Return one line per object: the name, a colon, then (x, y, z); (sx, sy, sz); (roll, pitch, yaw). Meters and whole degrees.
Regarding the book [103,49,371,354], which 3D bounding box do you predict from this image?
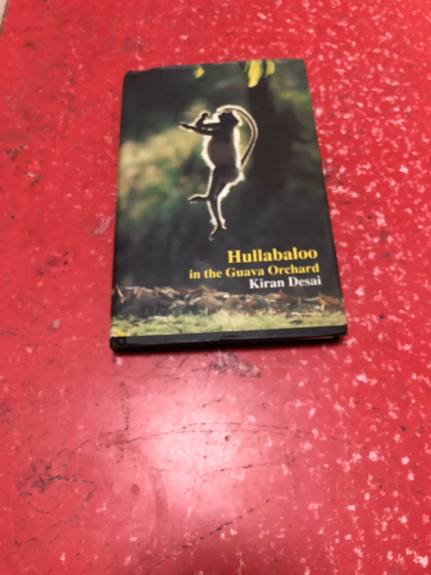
book: (0.008, -0.072, 0.352); (0.160, 0.030, 0.230); (-3, 66, 1)
